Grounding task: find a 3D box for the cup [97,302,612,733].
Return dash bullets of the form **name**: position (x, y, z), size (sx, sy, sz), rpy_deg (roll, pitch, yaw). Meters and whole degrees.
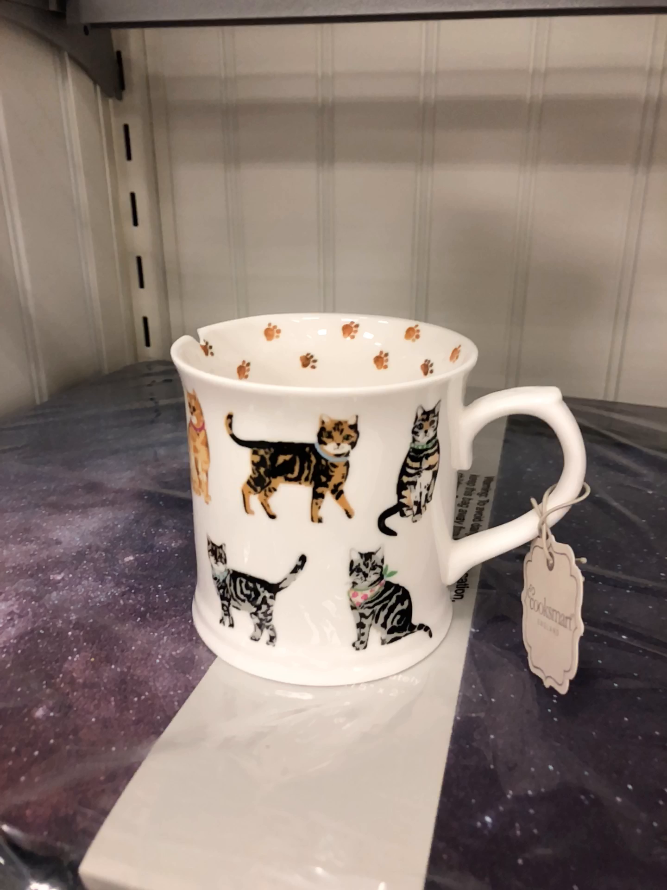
- **cup**: position (0.011, 0.014, 0.254), size (0.137, 0.099, 0.096), rpy_deg (5, 23, 12)
